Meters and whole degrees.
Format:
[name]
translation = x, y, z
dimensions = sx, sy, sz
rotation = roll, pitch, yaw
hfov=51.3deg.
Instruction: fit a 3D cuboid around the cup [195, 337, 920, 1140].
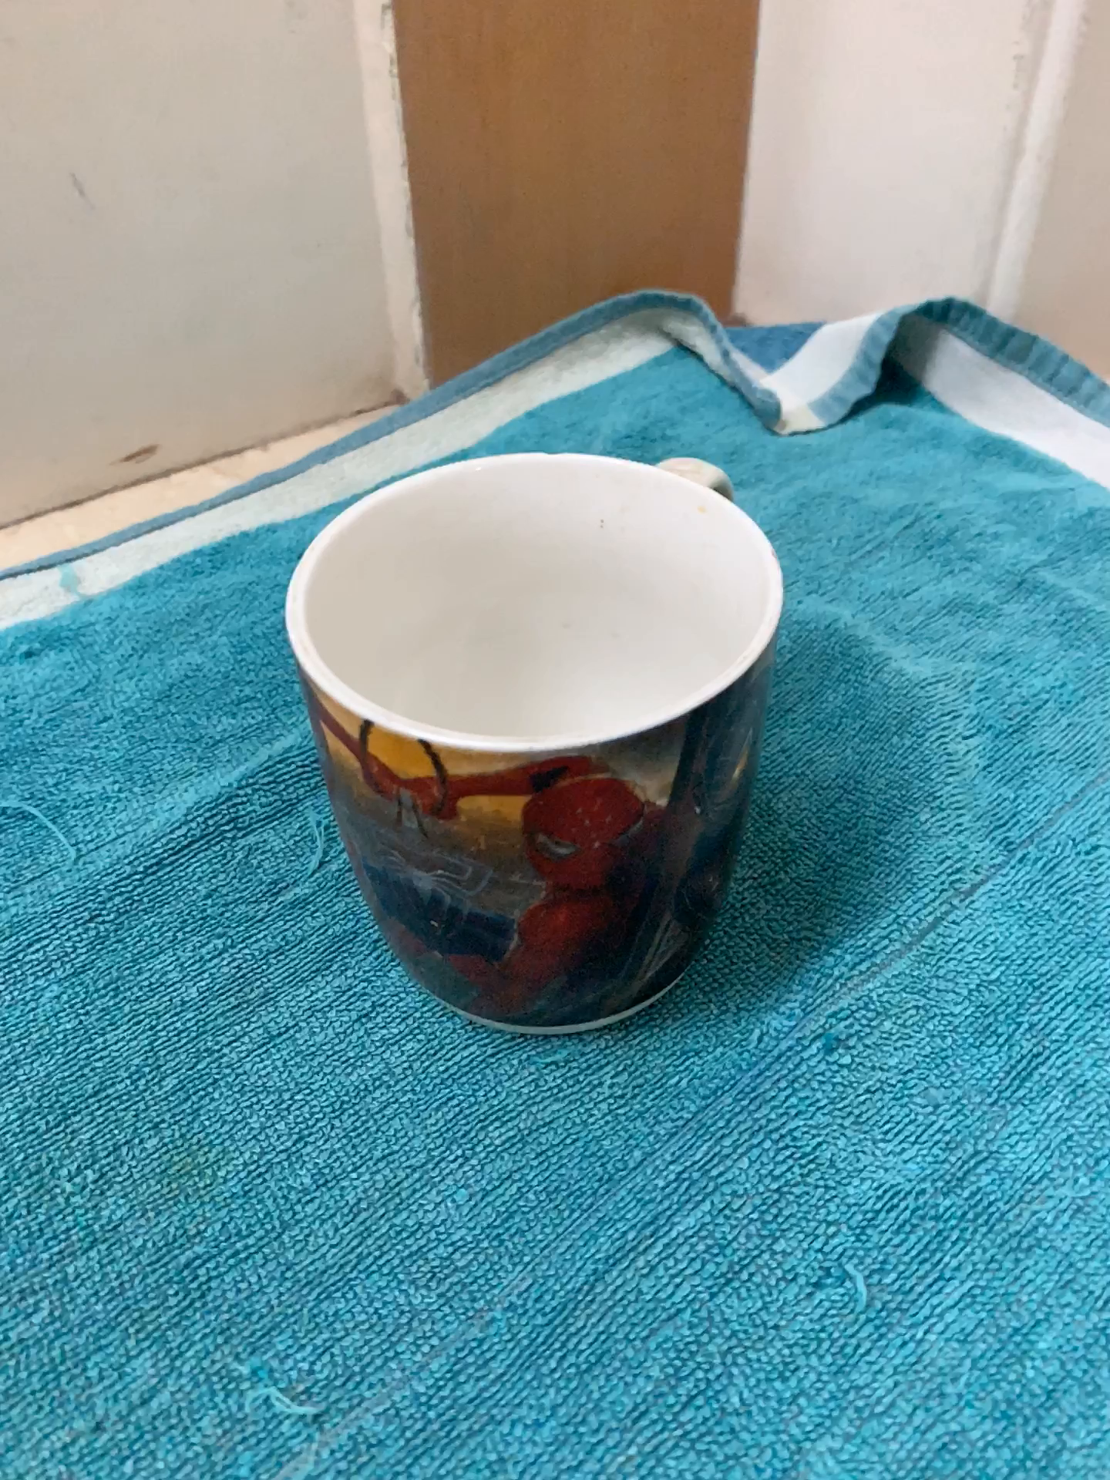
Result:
[cup]
translation = 0.009, -0.009, 0.235
dimensions = 0.080, 0.089, 0.121
rotation = 20, 46, 22
